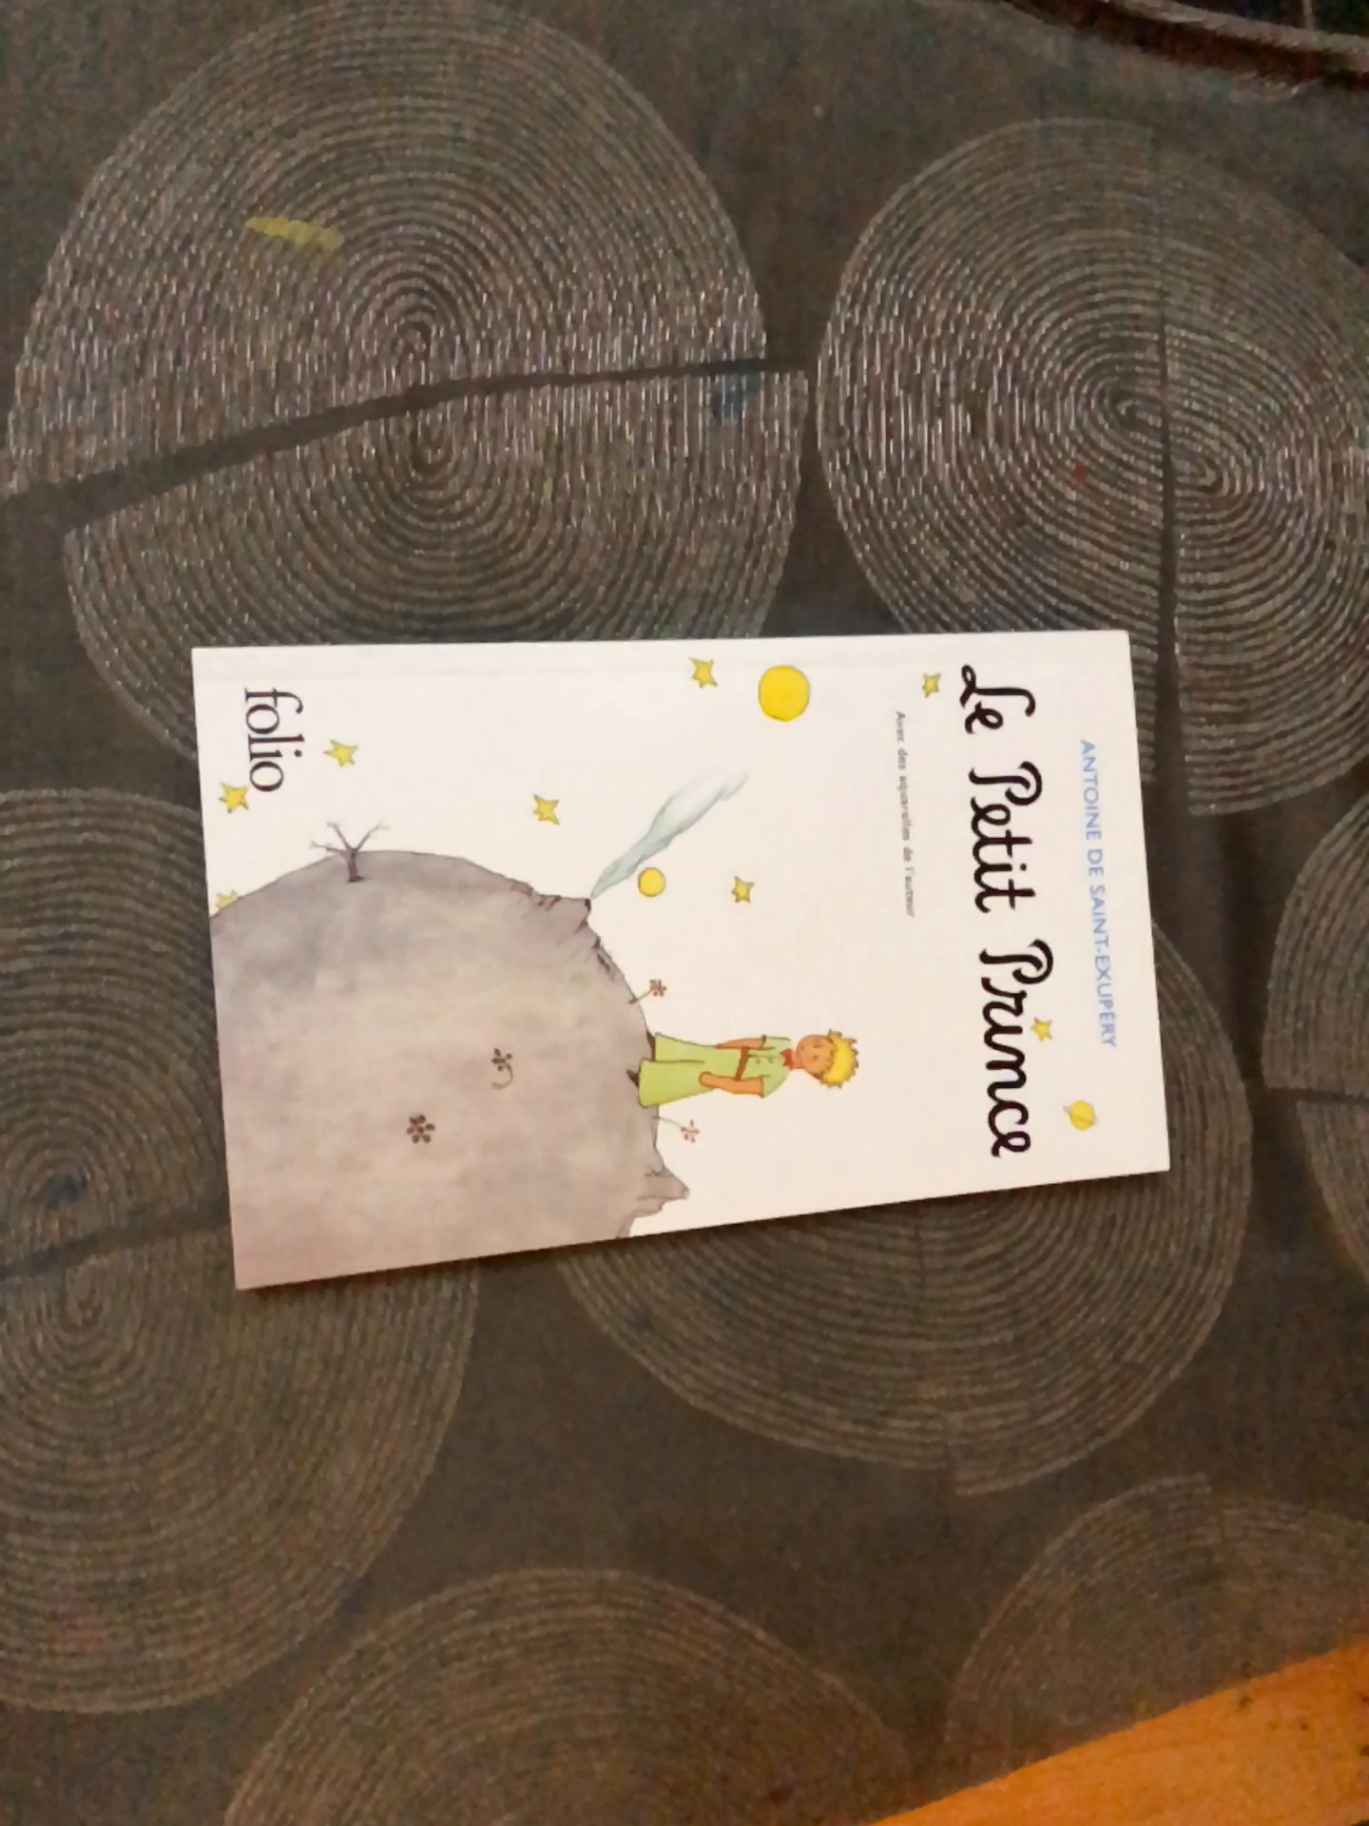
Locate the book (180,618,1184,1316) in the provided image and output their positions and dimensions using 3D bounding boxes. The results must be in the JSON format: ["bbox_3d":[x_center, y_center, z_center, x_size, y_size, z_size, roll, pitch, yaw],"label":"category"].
[{"bbox_3d":[0.003,0.006,0.273,0.170,0.030,0.110,-3,92,-11],"label":"book"}]
